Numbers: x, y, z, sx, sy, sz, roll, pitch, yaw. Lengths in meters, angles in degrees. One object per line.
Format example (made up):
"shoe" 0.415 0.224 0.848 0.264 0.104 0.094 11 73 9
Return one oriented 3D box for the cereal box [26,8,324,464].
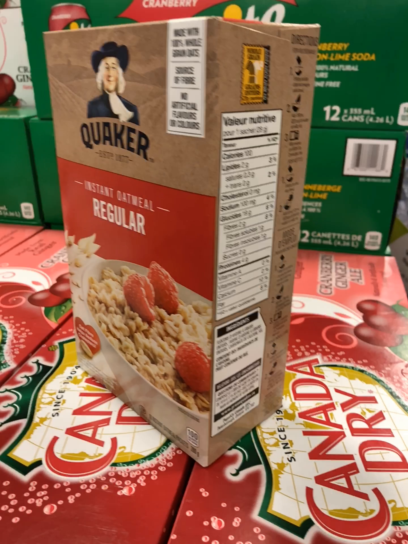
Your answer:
"cereal box" -0.022 -0.024 0.254 0.130 0.199 0.070 22 30 39
